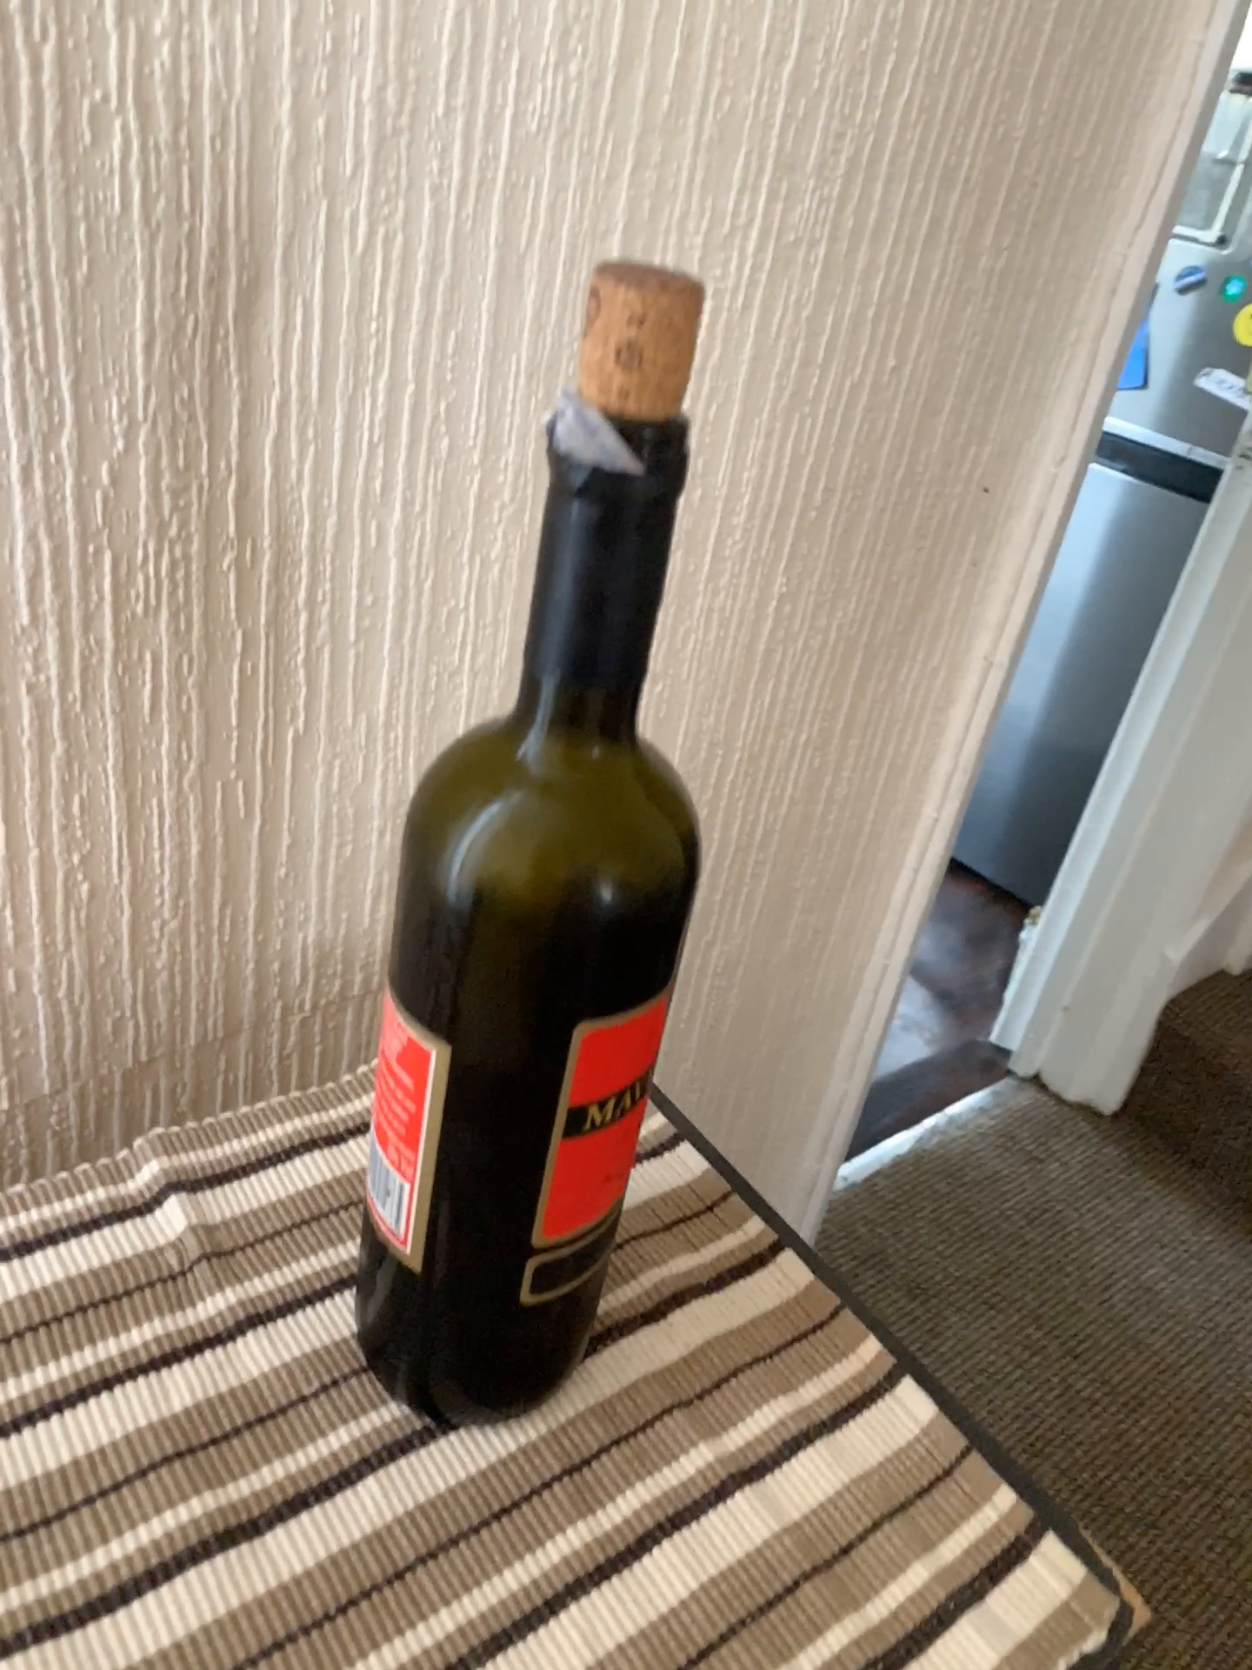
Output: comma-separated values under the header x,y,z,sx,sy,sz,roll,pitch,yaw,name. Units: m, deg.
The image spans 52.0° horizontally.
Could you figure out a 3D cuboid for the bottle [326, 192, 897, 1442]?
x,y,z,sx,sy,sz,roll,pitch,yaw,name
-0.020,0.018,0.333,0.080,0.317,0.081,9,30,-5,bottle
